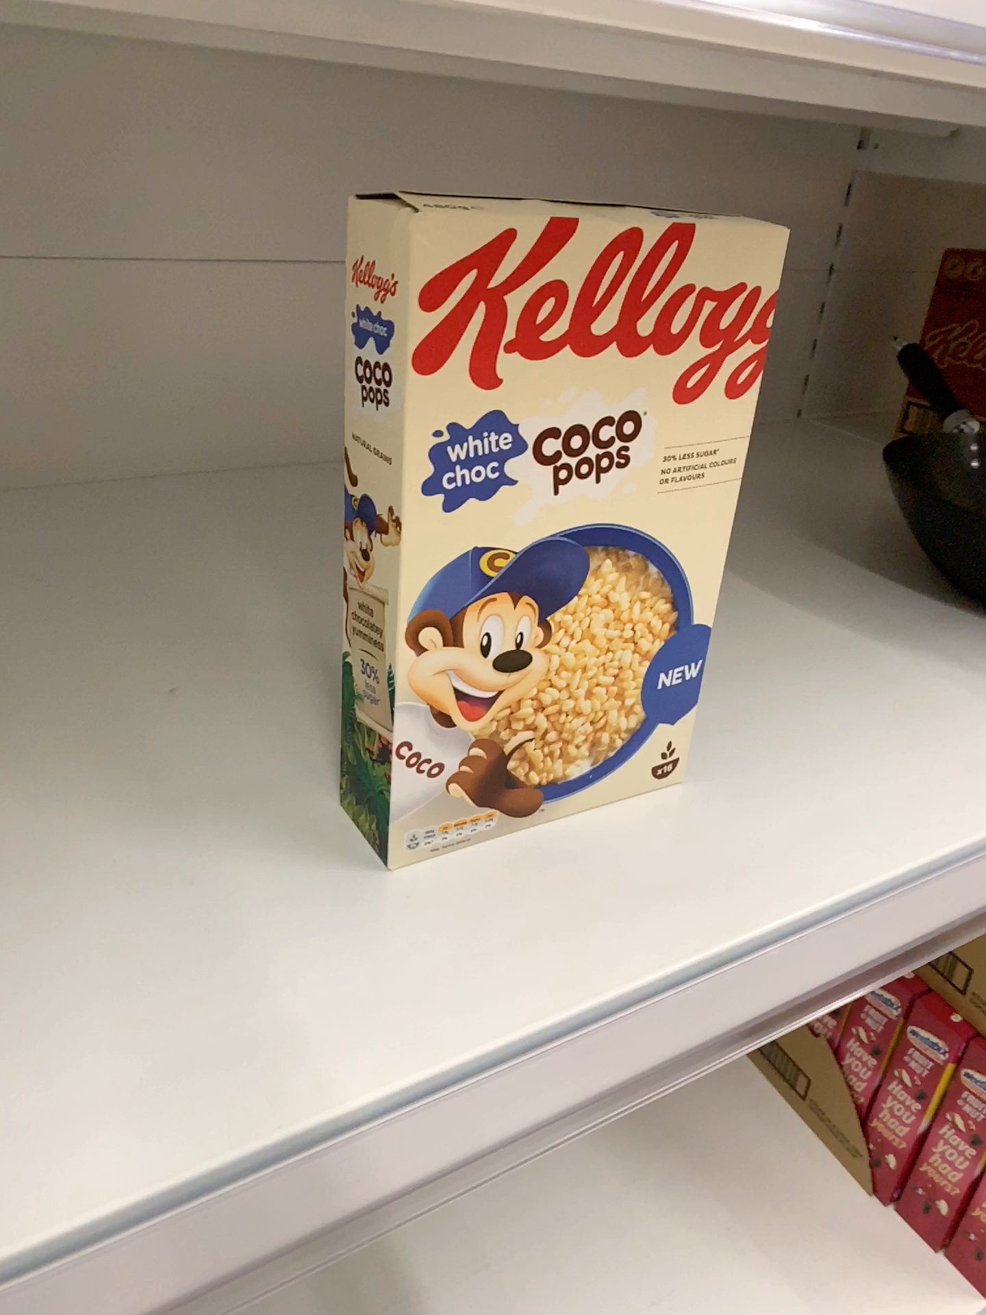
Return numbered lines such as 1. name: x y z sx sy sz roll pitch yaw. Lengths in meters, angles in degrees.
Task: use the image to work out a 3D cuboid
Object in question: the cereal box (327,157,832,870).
1. cereal box: 0.032 -0.067 0.488 0.211 0.297 0.070 -11 29 -30
